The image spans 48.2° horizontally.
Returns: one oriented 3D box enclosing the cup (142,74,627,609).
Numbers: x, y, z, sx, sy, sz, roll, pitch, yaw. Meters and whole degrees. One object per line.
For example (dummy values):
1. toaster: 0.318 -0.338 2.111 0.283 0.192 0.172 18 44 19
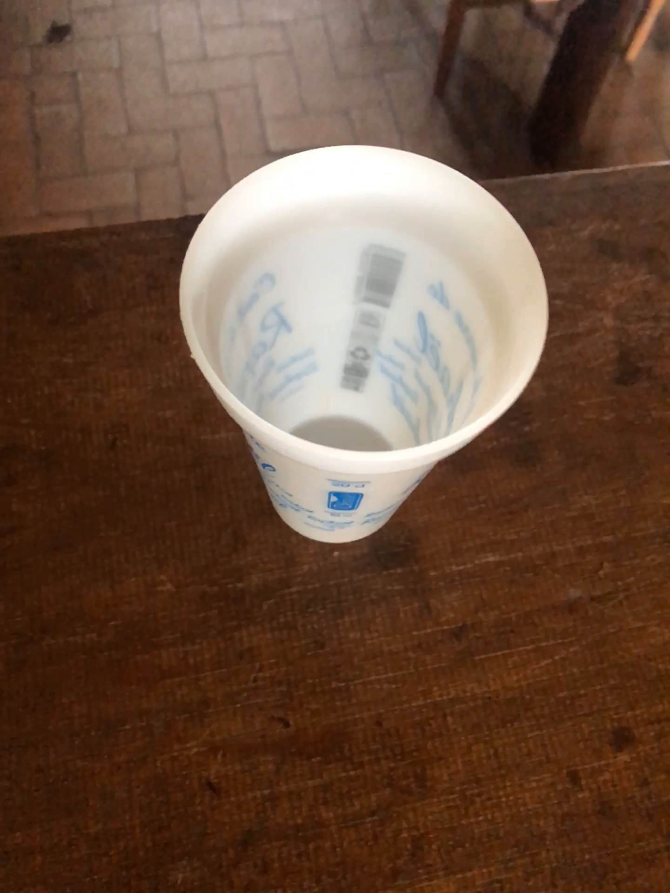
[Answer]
1. cup: 0.011 -0.017 0.213 0.080 0.120 0.080 1 68 -3
